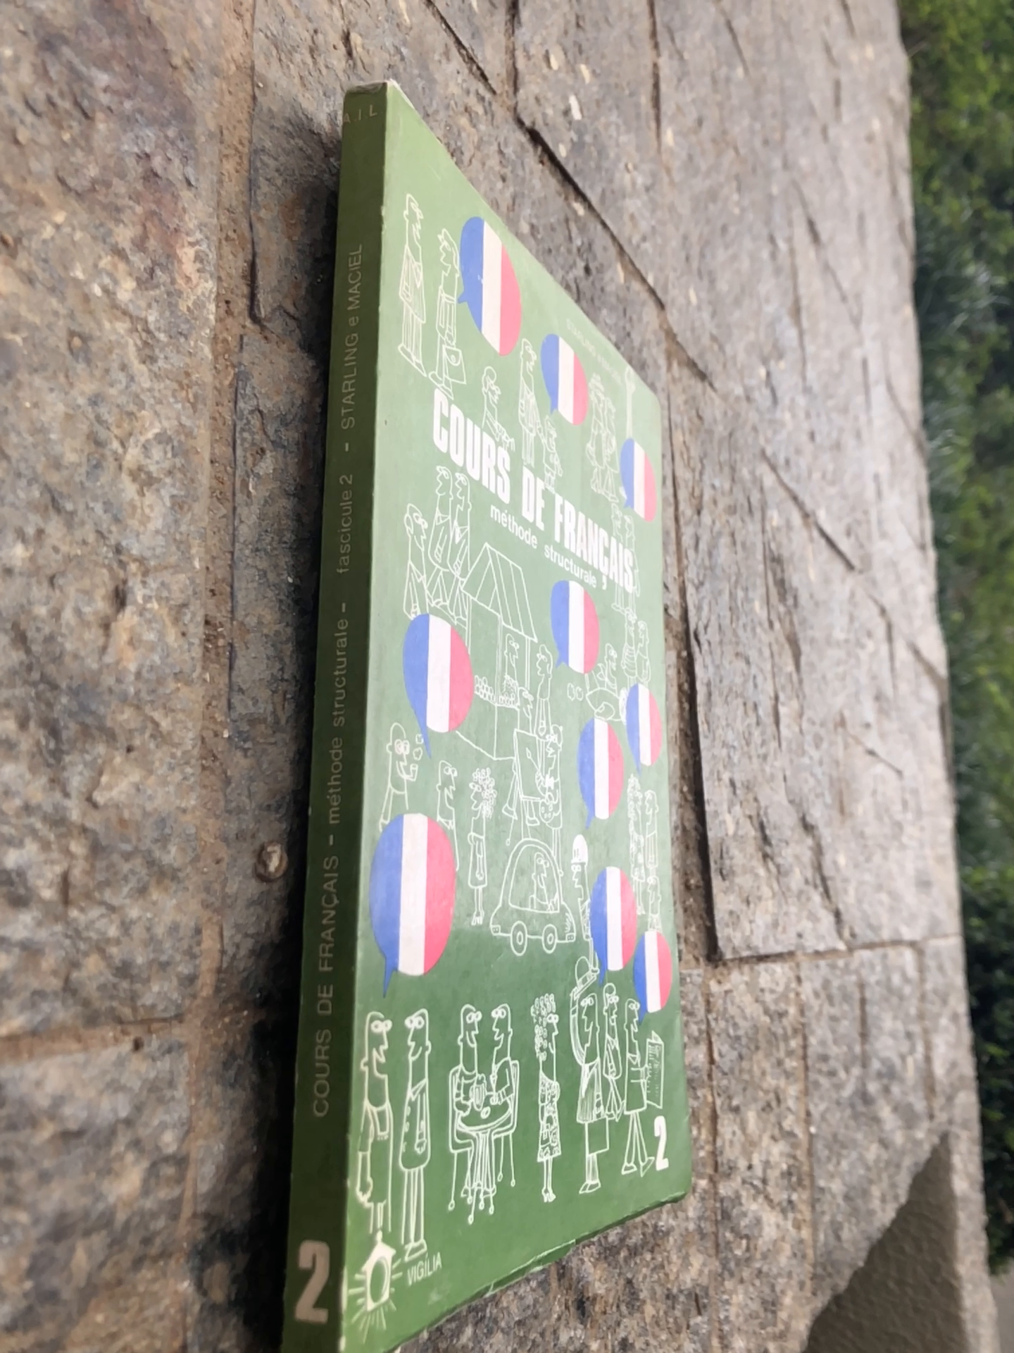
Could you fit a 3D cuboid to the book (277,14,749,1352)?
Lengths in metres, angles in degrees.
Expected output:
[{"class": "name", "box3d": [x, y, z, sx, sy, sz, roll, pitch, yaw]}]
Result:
[{"class": "book", "box3d": [0.016, 0.008, 0.242, 0.168, 0.013, 0.211, 24, 63, -59]}]
